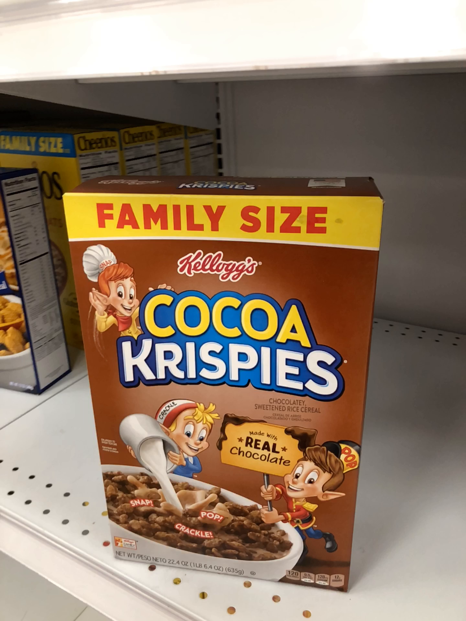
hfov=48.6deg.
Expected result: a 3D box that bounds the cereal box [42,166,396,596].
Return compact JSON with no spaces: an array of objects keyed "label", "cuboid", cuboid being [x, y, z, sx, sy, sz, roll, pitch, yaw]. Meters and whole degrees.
[{"label":"cereal box","cuboid":[0.000,0.057,0.374,0.200,0.299,0.070,2,24,12]}]
